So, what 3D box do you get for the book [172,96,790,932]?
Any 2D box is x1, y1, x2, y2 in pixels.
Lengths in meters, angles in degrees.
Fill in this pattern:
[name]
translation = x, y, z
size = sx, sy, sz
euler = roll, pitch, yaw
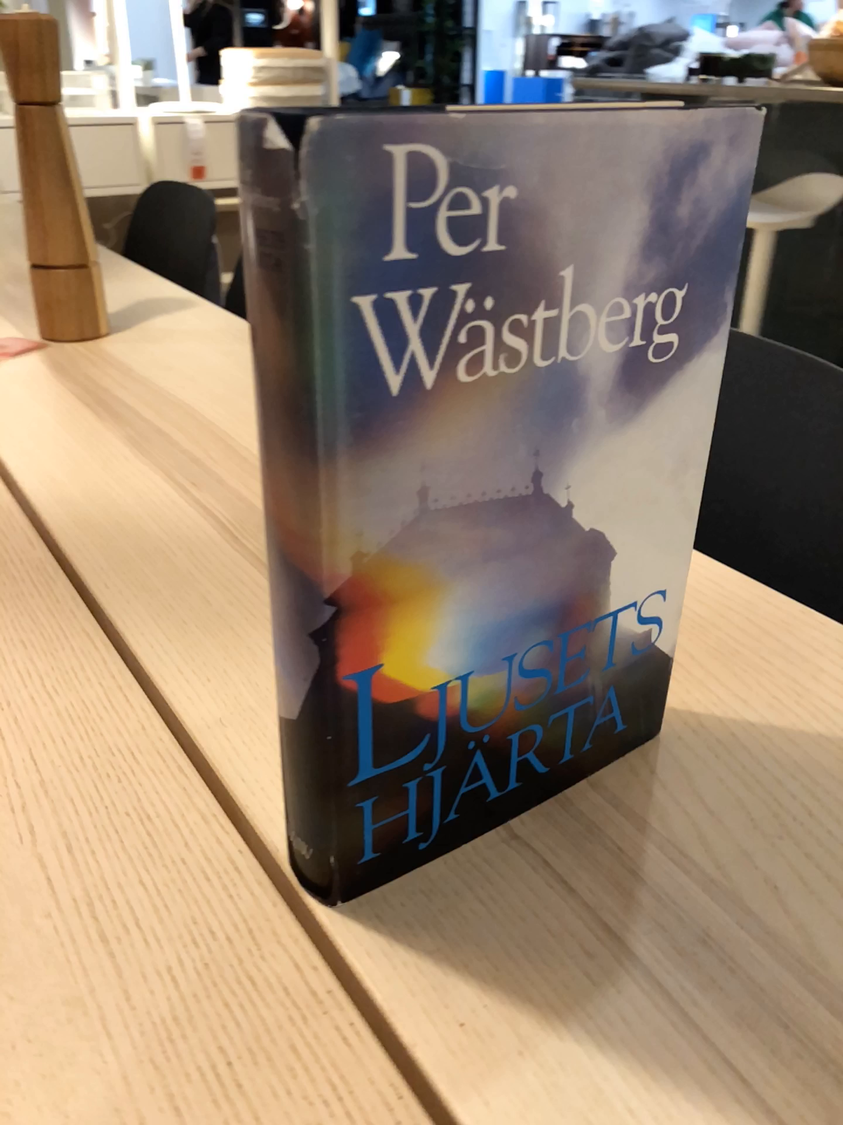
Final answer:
[book]
translation = 0.024, -0.018, 0.288
size = 0.166, 0.221, 0.042
euler = -18, 32, -31
